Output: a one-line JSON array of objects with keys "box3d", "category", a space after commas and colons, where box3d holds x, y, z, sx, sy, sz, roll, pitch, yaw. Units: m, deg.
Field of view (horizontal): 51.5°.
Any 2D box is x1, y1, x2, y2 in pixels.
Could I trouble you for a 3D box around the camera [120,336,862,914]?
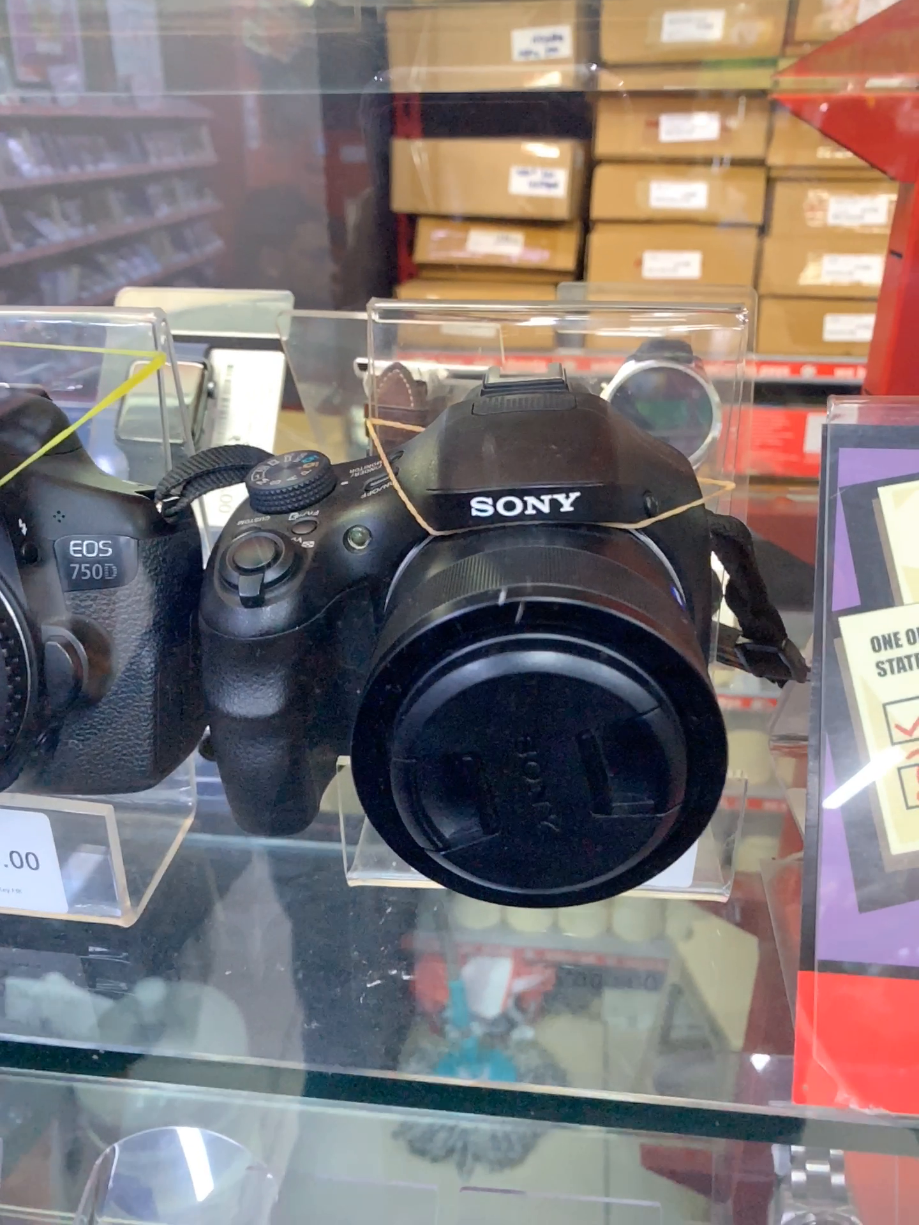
[{"box3d": [0.006, -0.003, 0.217, 0.120, 0.100, 0.090, 1, 26, 2], "category": "camera"}]
